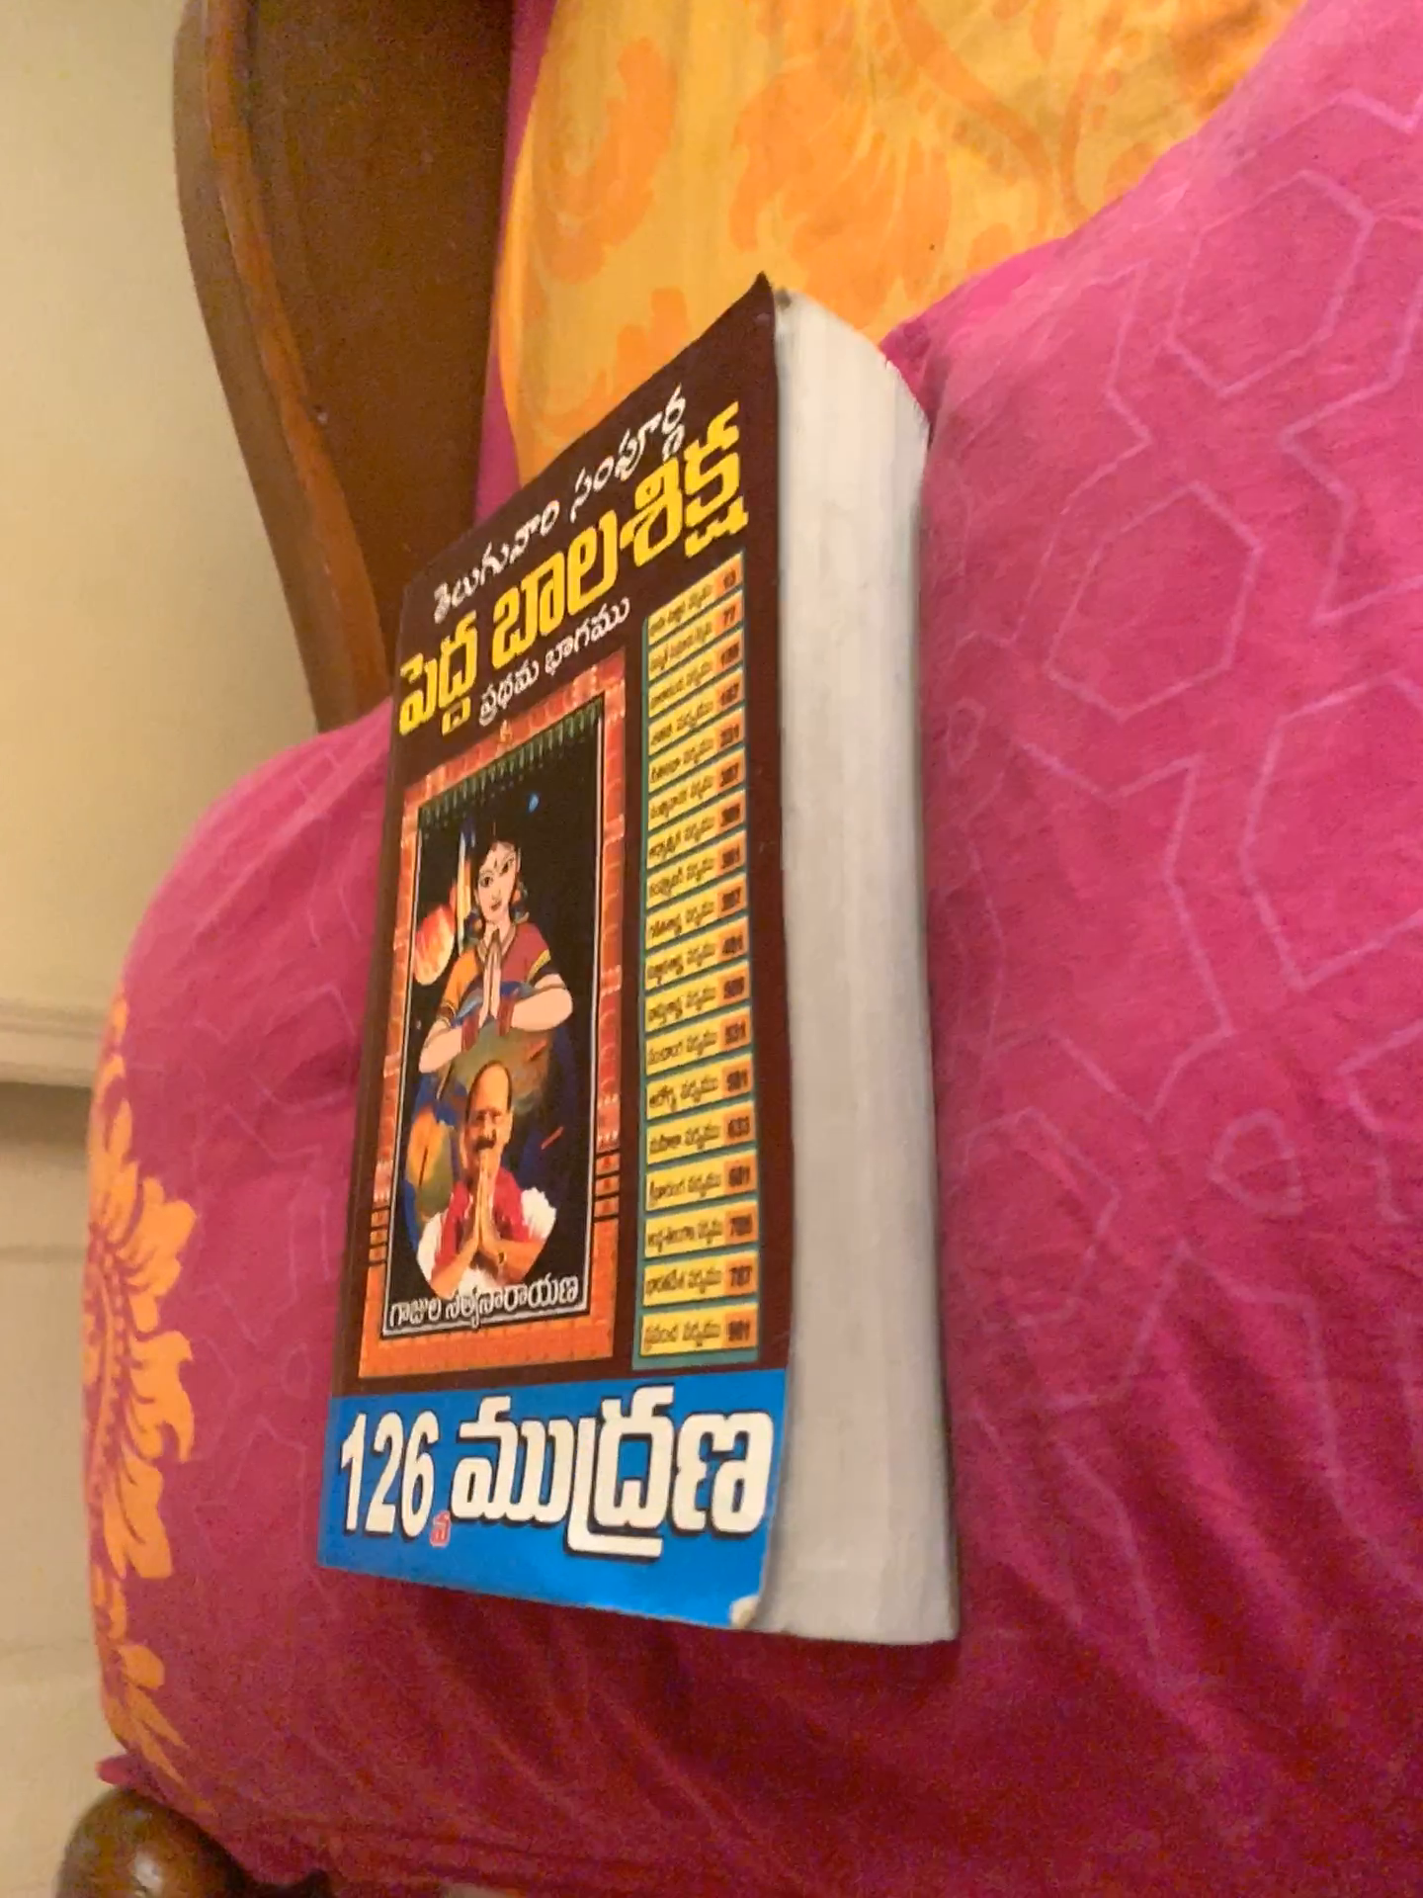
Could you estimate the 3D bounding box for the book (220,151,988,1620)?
[{"bbox_3d":[-0.030,-0.005,0.323,0.181,0.050,0.260,-21,61,47],"label":"book"}]
